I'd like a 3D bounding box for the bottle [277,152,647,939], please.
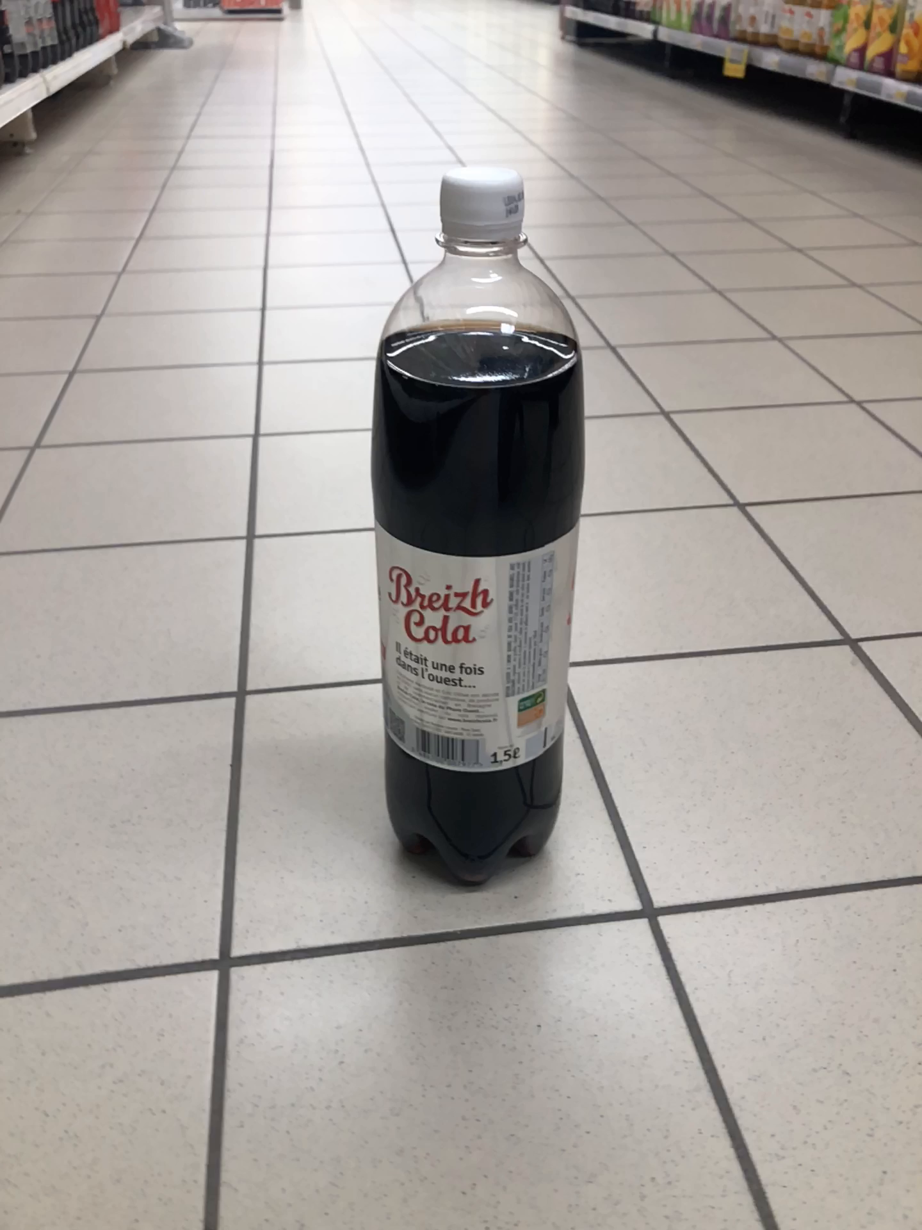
[{"bbox_3d":[-0.002,-0.020,0.446,0.090,0.318,0.100,-21,38,-30],"label":"bottle"}]
